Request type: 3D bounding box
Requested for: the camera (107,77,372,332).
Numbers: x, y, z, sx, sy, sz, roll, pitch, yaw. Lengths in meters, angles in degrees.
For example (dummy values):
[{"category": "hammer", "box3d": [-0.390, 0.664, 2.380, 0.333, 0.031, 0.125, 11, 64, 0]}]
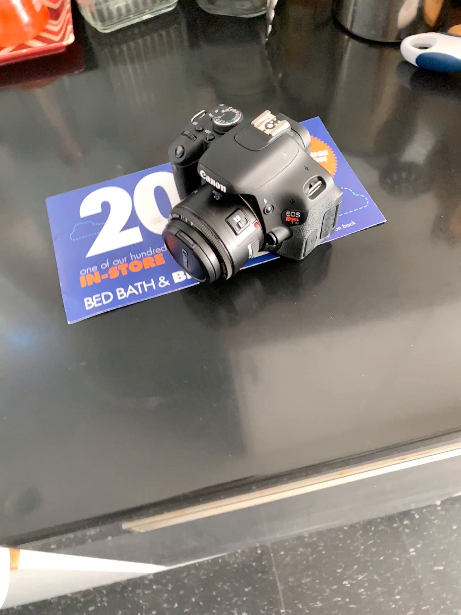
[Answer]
[{"category": "camera", "box3d": [0.007, -0.083, 0.371, 0.140, 0.086, 0.124, 39, 71, 23]}]
